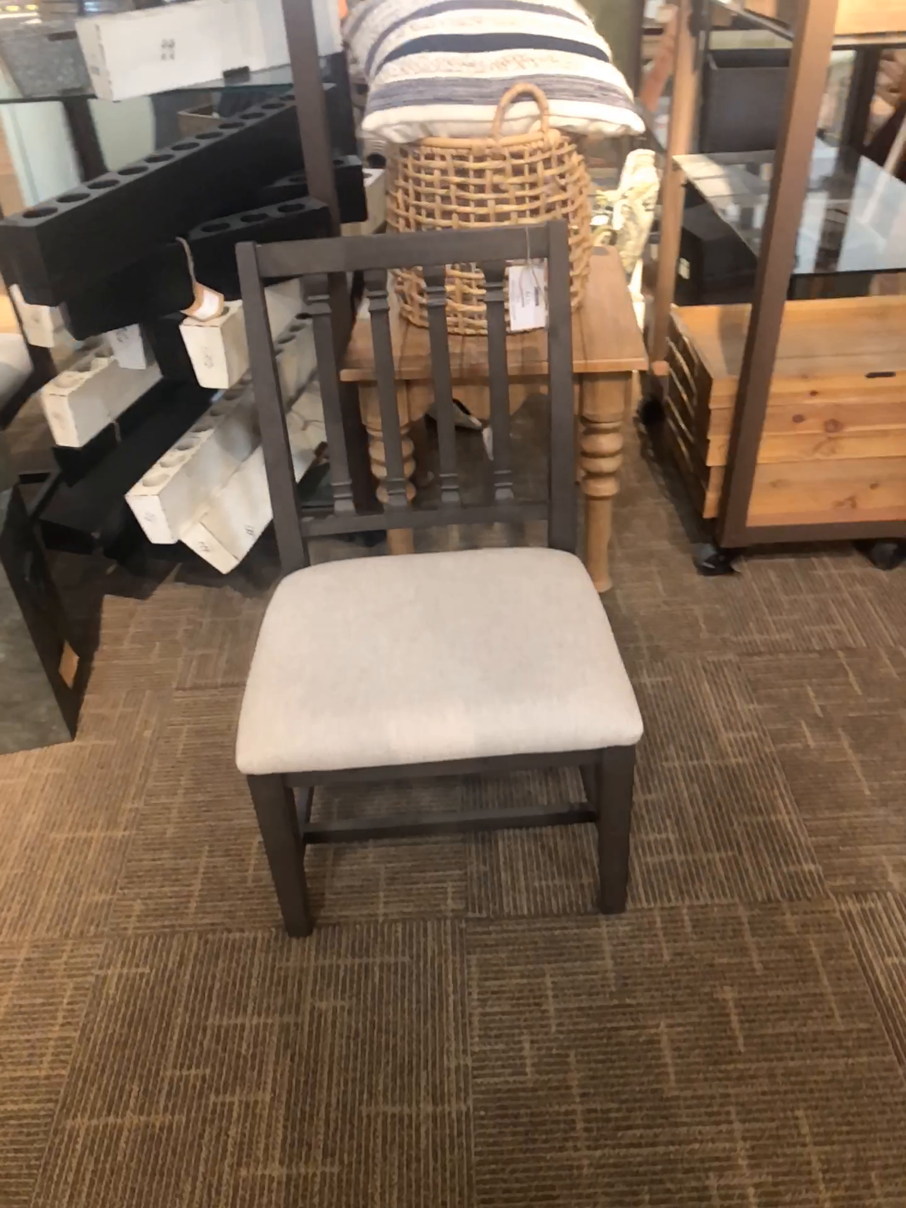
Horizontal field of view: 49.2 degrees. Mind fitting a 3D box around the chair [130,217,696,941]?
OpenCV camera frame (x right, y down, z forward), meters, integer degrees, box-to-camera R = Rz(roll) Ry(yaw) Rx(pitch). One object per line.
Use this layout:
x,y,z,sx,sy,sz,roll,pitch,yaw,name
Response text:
-0.024,-0.023,1.524,0.580,0.905,0.603,-3,37,1,chair
